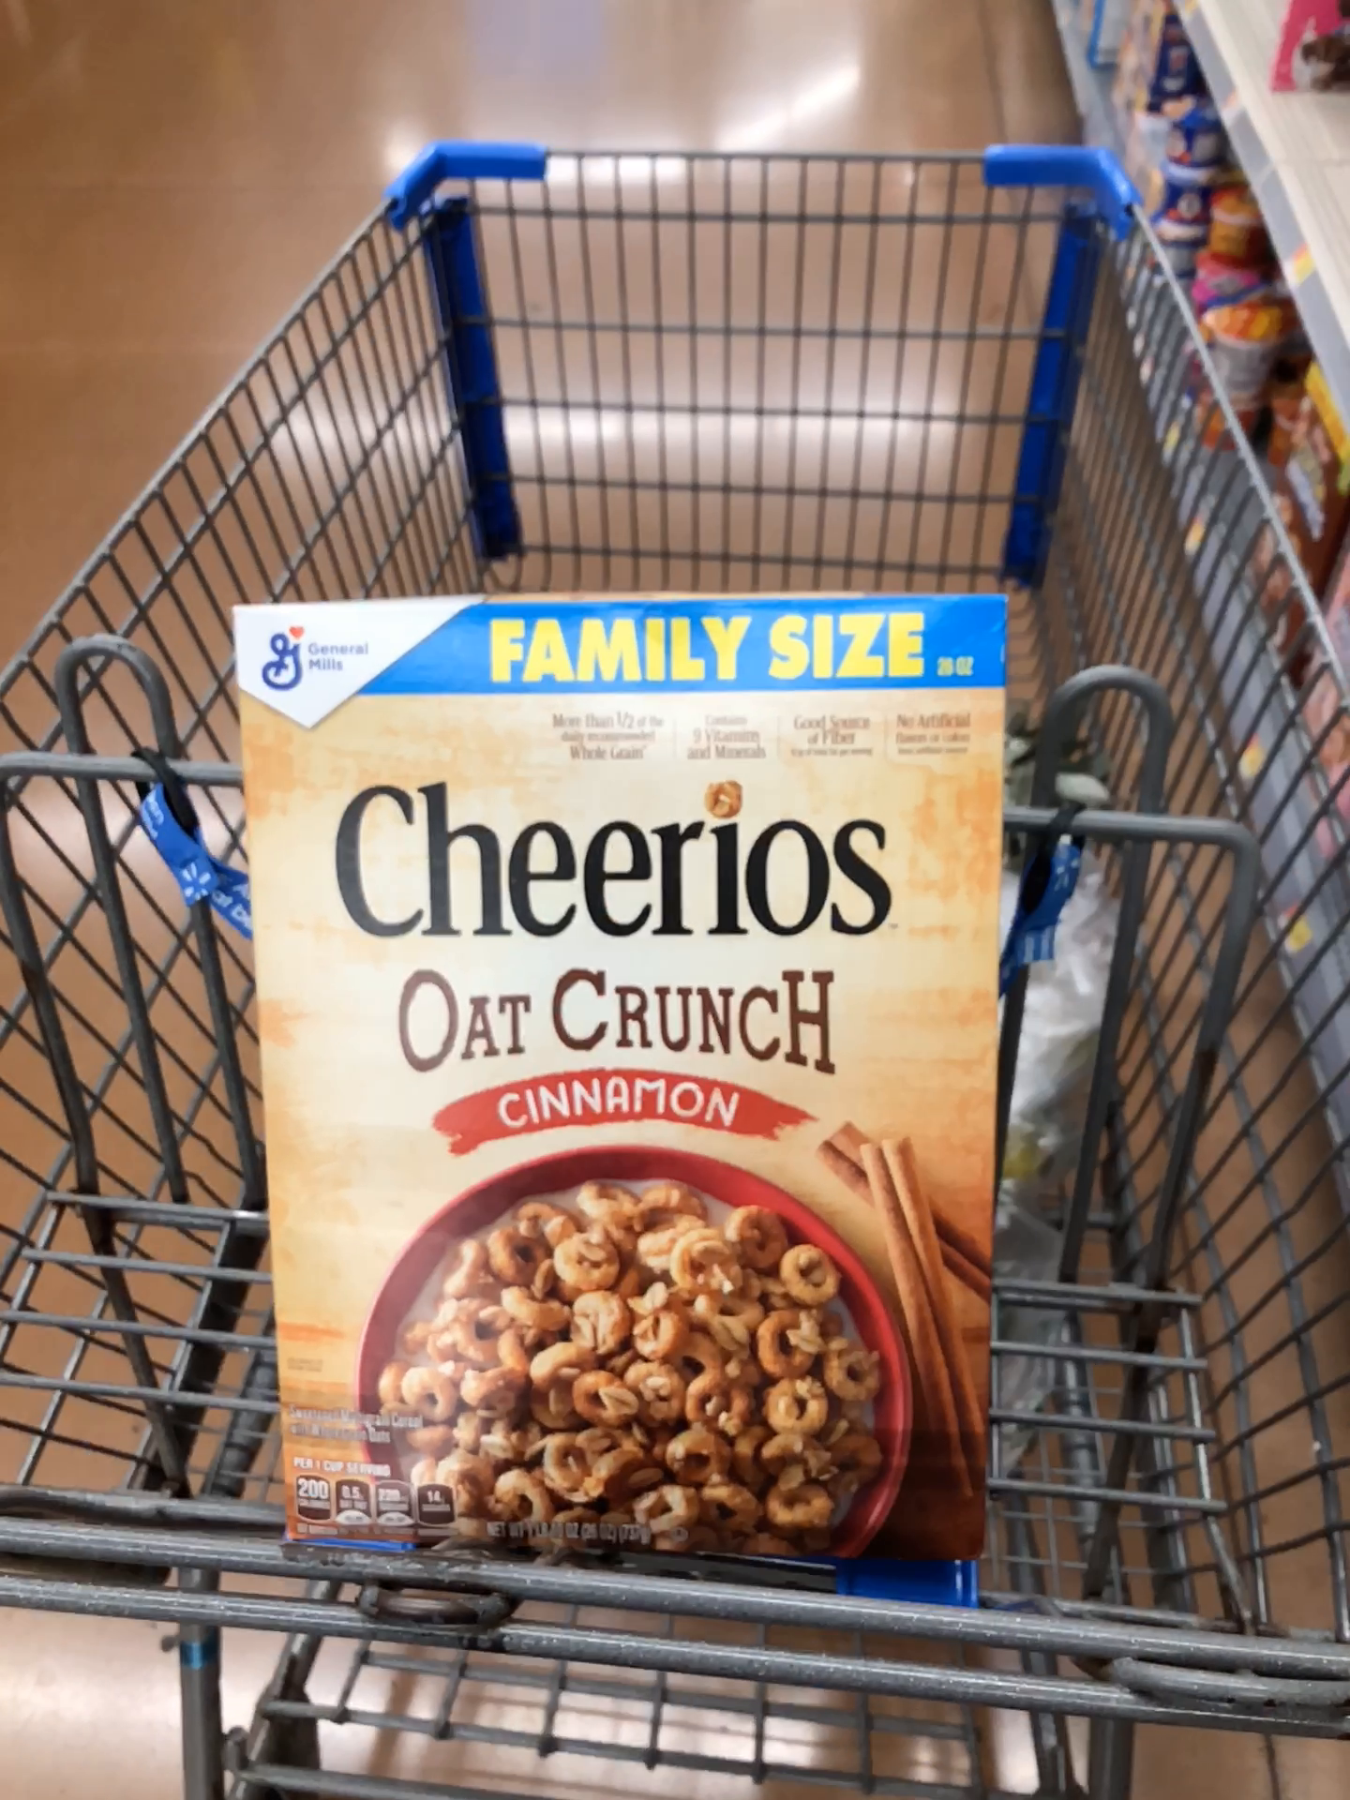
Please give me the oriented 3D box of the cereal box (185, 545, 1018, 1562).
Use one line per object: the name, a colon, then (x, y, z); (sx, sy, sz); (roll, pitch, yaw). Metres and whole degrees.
cereal box: (-0.021, 0.050, 0.515); (0.250, 0.330, 0.080); (0, 10, 3)
